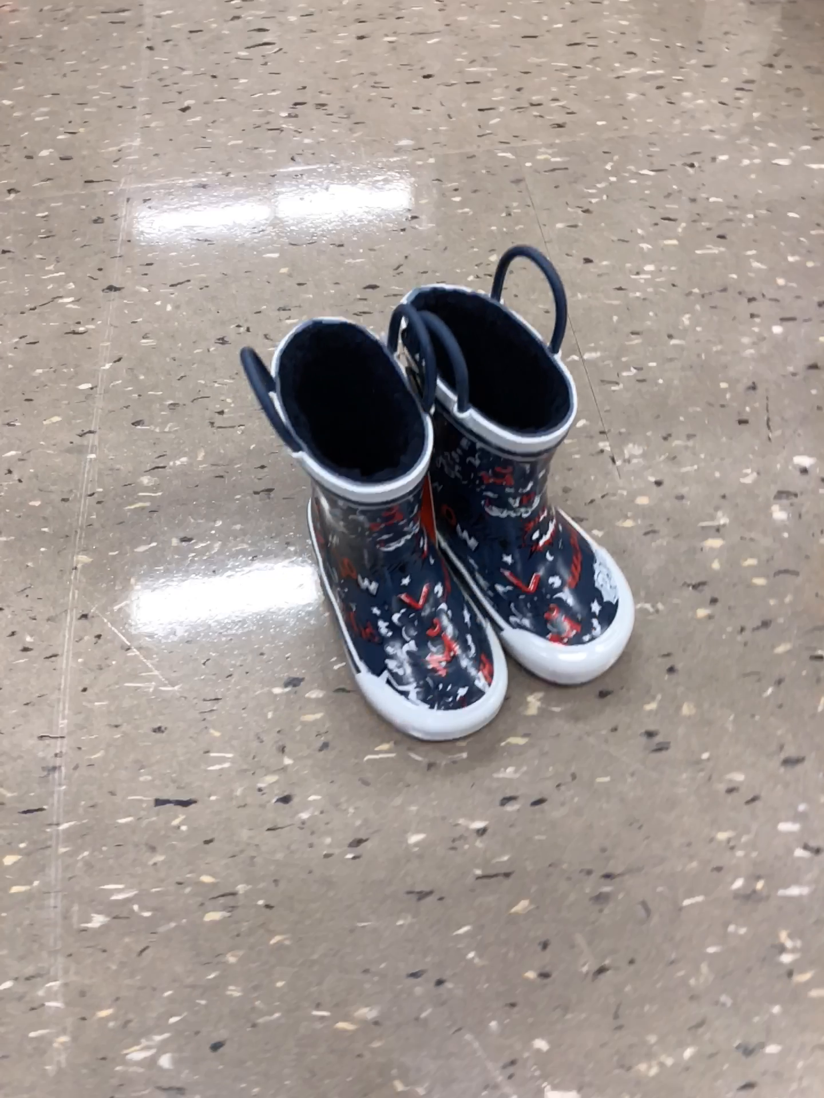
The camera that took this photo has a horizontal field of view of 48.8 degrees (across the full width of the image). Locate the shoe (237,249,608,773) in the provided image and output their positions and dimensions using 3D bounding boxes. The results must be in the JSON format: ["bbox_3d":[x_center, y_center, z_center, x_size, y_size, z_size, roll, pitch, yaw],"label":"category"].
[{"bbox_3d":[-0.002,-0.011,0.411,0.080,0.160,0.160,-22,62,-12],"label":"shoe"}]

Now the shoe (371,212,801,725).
[{"bbox_3d":[0.061,-0.029,0.409,0.080,0.160,0.150,-33,64,-17],"label":"shoe"}]
